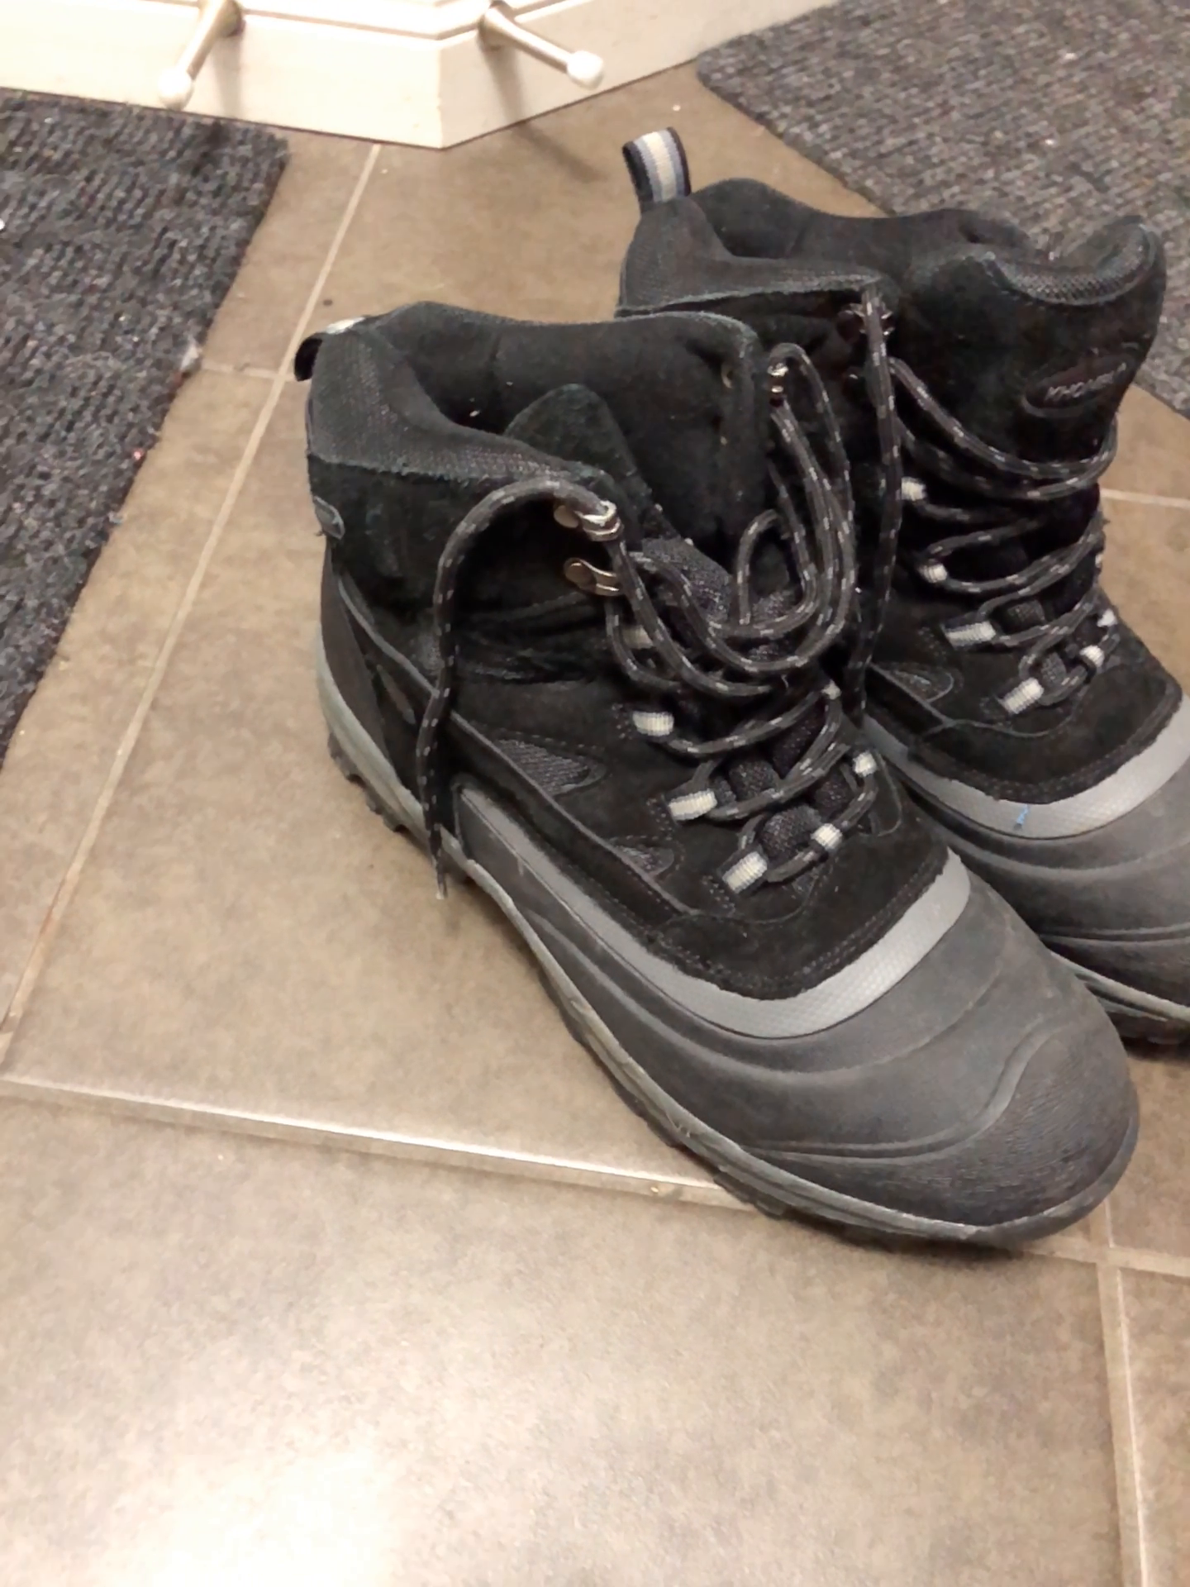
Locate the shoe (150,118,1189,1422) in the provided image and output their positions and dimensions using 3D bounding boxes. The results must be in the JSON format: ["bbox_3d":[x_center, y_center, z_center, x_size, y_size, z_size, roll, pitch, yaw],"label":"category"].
[{"bbox_3d":[0.031,-0.006,0.364,0.120,0.200,0.290,-36,65,-26],"label":"shoe"}]

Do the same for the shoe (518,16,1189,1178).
[{"bbox_3d":[0.121,-0.060,0.407,0.120,0.200,0.290,-37,66,-26],"label":"shoe"}]
